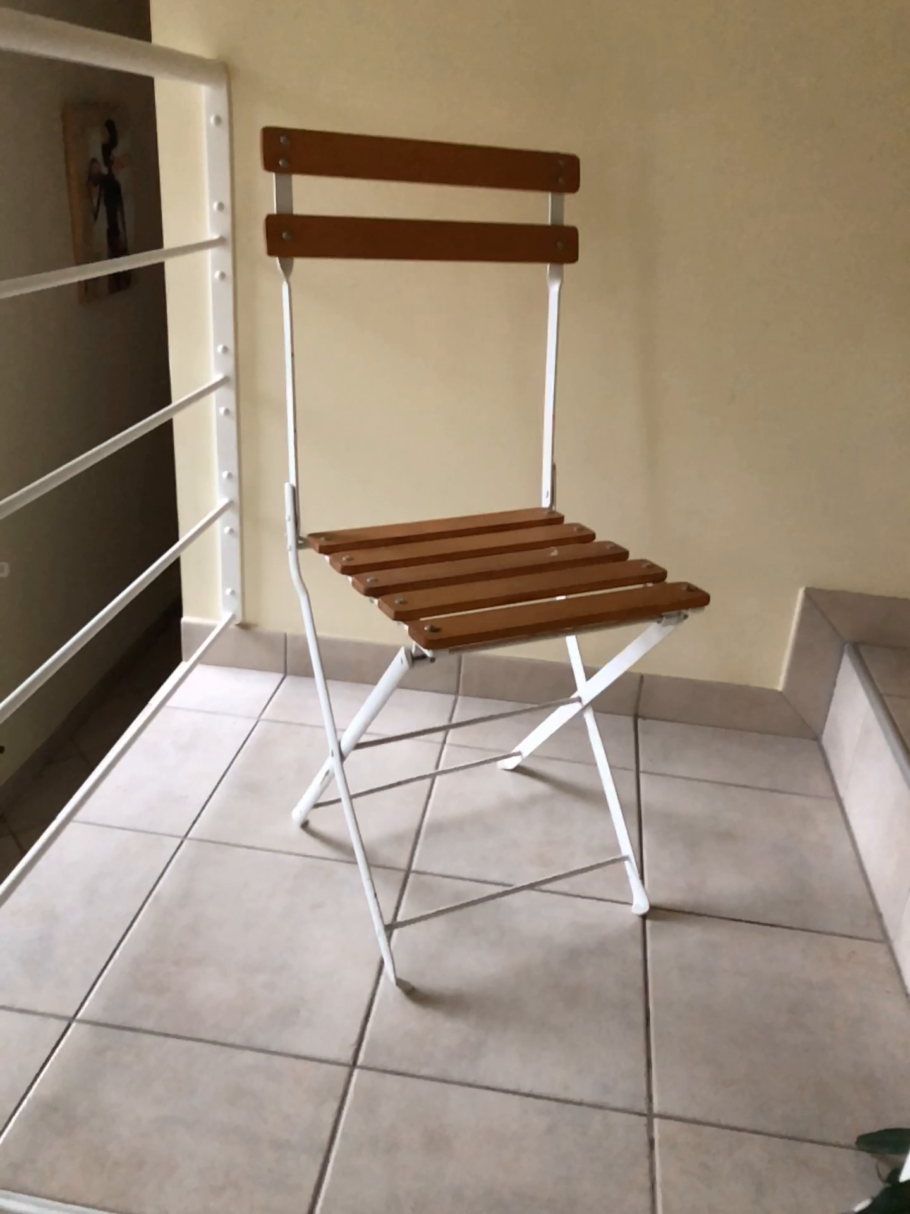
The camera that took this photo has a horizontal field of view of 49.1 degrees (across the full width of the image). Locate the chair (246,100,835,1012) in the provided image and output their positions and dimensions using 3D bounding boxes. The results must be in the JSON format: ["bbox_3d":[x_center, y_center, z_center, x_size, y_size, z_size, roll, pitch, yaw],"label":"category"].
[{"bbox_3d":[0.044,-0.080,1.177,0.441,0.876,0.431,-8,25,-26],"label":"chair"}]
